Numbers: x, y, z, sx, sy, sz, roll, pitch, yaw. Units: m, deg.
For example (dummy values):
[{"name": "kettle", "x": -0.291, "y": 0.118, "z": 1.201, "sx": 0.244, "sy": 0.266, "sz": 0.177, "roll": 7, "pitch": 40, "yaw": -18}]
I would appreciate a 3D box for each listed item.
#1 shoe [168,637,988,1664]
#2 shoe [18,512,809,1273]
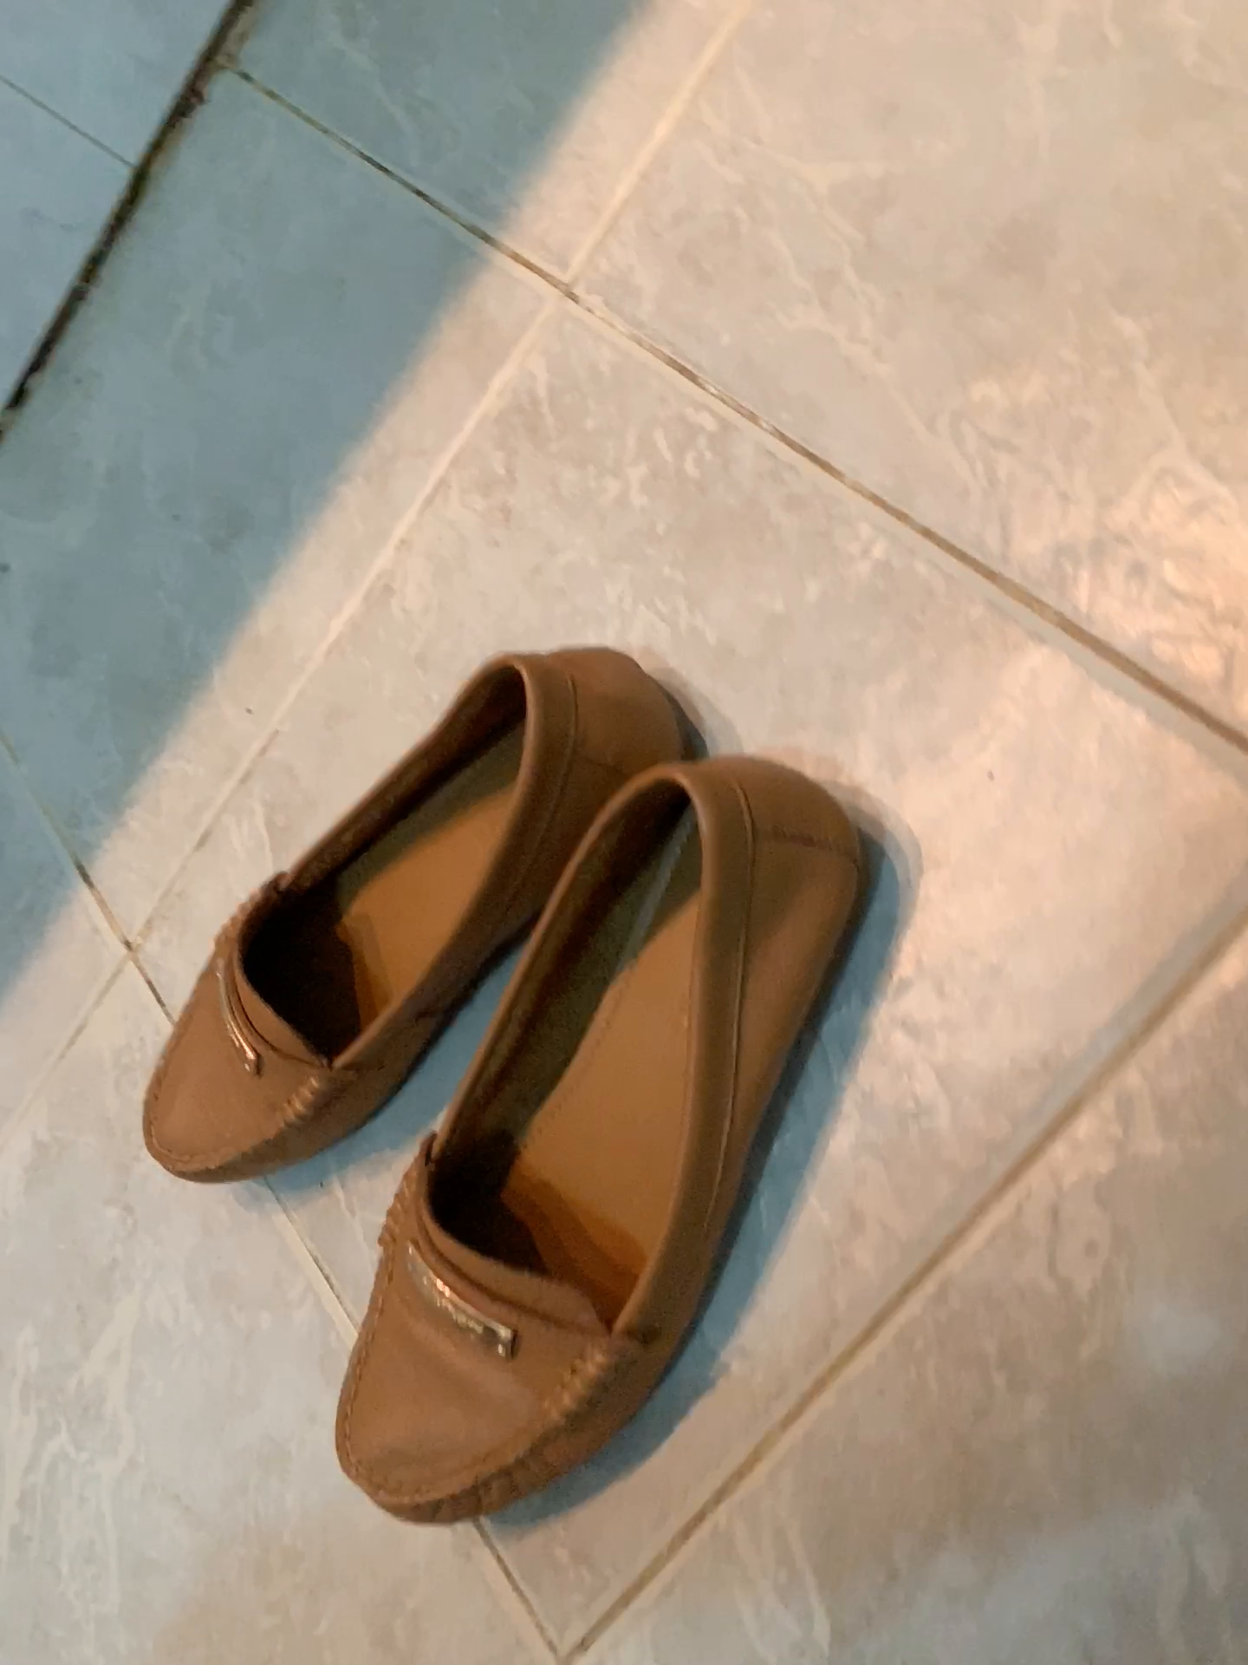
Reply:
[{"name": "shoe", "x": -0.016, "y": 0.085, "z": 0.326, "sx": 0.085, "sy": 0.071, "sz": 0.243, "roll": 33, "pitch": 100, "yaw": 35}, {"name": "shoe", "x": -0.074, "y": 0.030, "z": 0.381, "sx": 0.243, "sy": 0.071, "sz": 0.083, "roll": -41, "pitch": 60, "yaw": 21}]
